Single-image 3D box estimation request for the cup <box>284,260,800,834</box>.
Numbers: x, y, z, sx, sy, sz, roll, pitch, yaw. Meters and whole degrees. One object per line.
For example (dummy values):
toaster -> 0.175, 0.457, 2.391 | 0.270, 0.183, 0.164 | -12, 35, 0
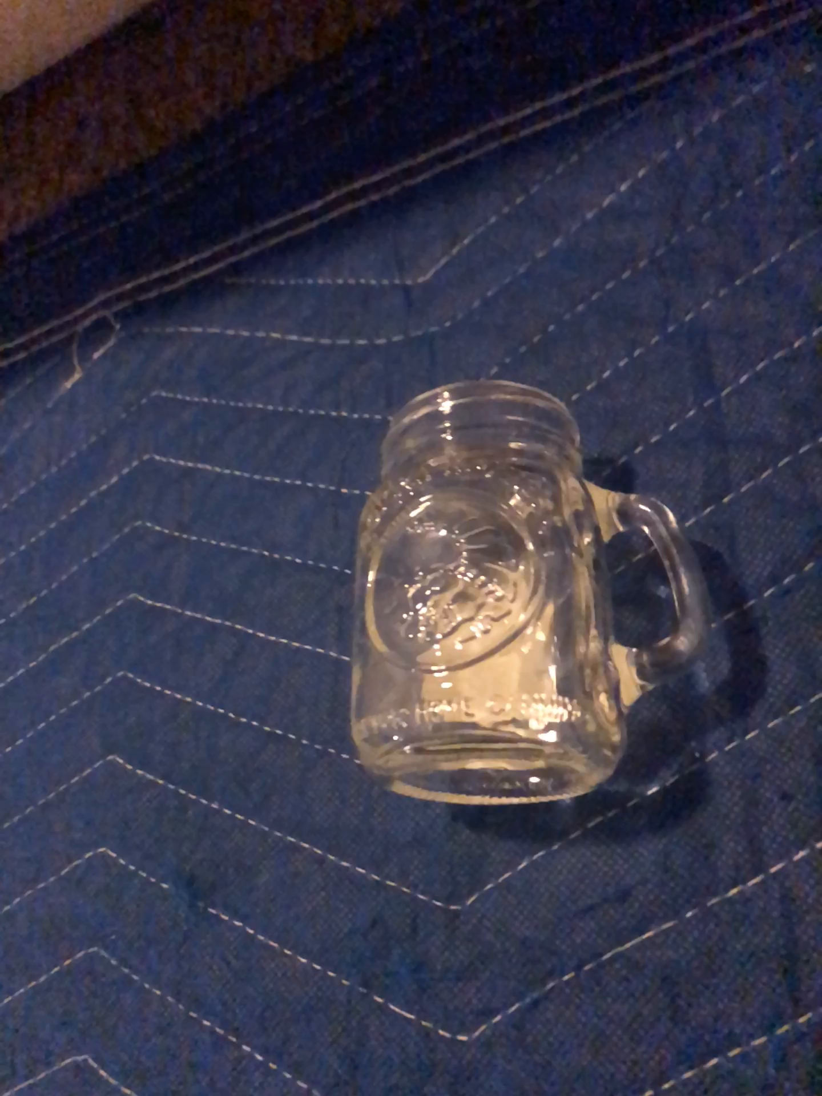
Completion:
cup -> 0.022, 0.006, 0.196 | 0.089, 0.043, 0.095 | -11, 67, 28
